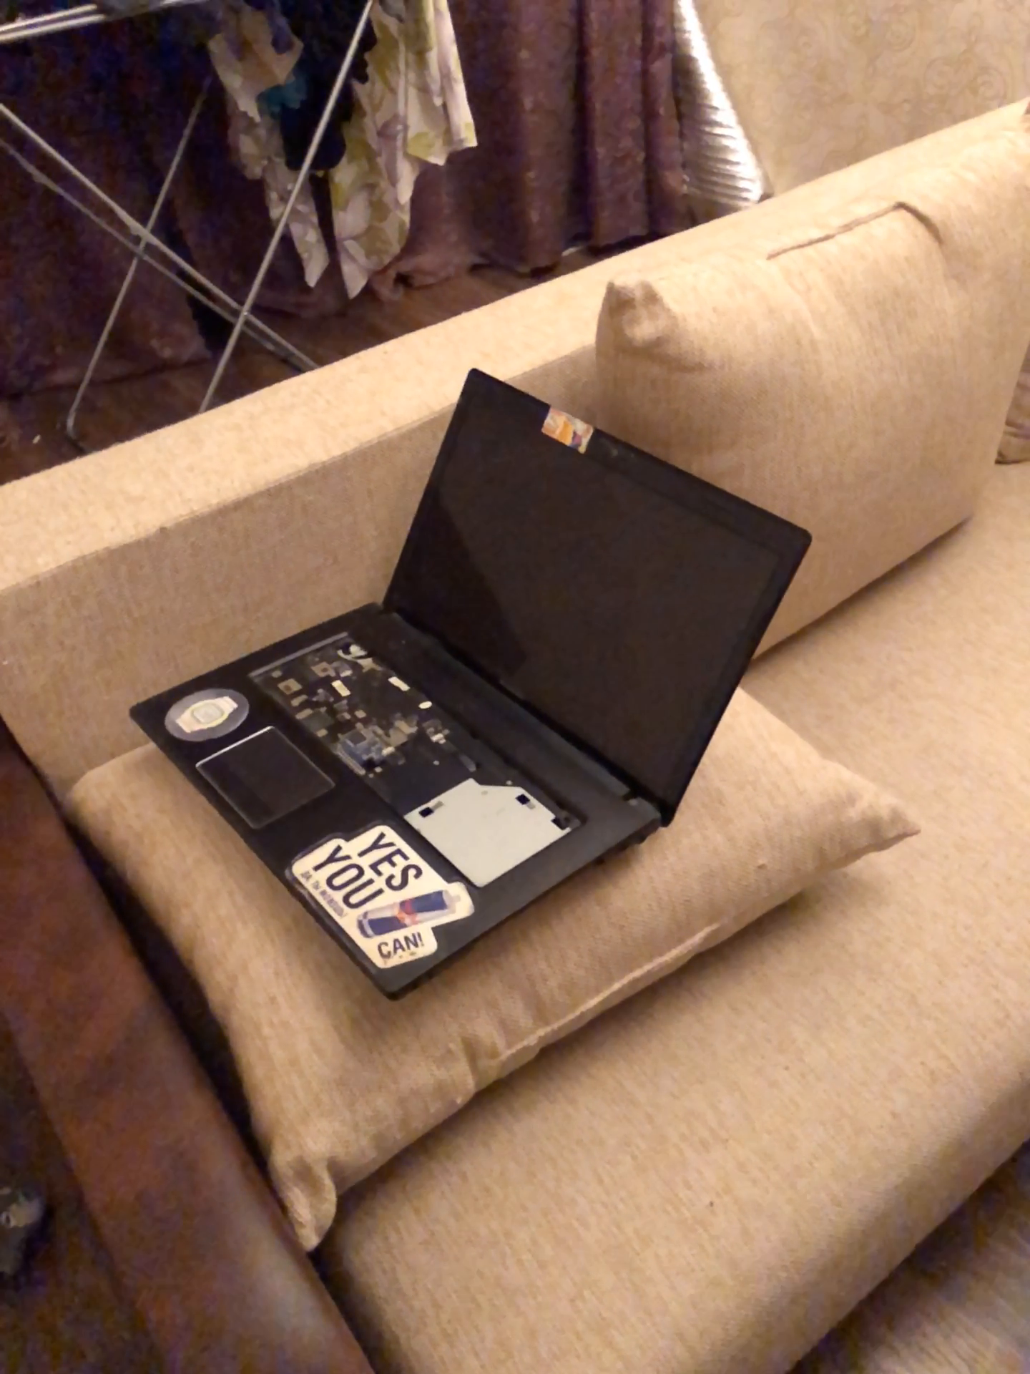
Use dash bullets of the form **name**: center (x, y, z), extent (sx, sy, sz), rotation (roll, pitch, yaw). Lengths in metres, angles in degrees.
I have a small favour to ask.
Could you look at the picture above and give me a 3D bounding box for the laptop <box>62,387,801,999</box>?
- **laptop**: center (-0.068, -0.038, 0.952), extent (0.409, 0.198, 0.413), rotation (-29, 47, -28)
